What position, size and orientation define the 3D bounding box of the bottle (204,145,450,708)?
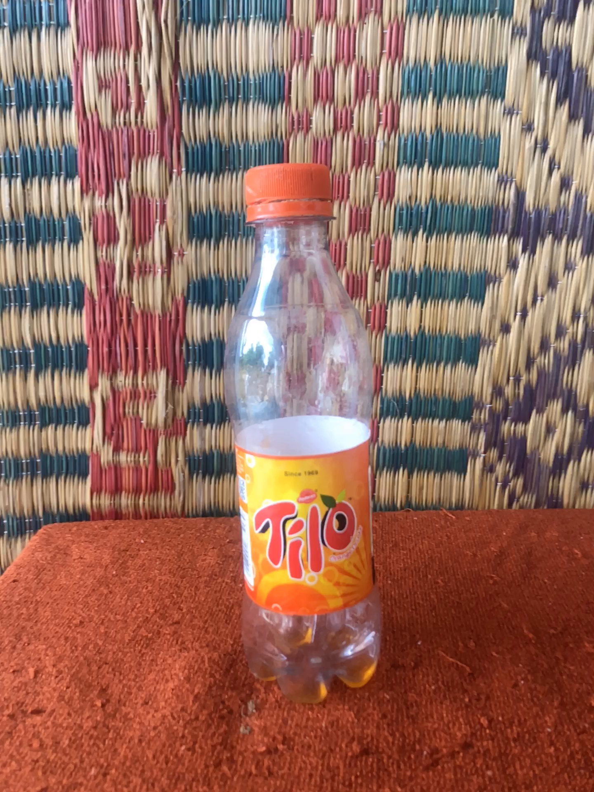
[{"bbox_3d":[0.012,0.014,0.237,0.070,0.189,0.050,0,16,4],"label":"bottle"}]
